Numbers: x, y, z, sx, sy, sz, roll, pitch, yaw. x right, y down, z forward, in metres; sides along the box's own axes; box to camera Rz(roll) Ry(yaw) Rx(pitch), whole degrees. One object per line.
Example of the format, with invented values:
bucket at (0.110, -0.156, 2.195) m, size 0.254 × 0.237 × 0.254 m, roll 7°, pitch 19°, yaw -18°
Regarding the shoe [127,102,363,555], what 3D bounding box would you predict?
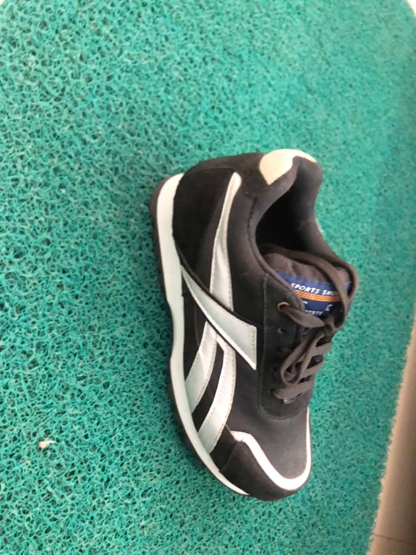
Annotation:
shoe at (0.028, 0.038, 0.353) m, size 0.101 × 0.109 × 0.290 m, roll -9°, pitch 94°, yaw -43°
